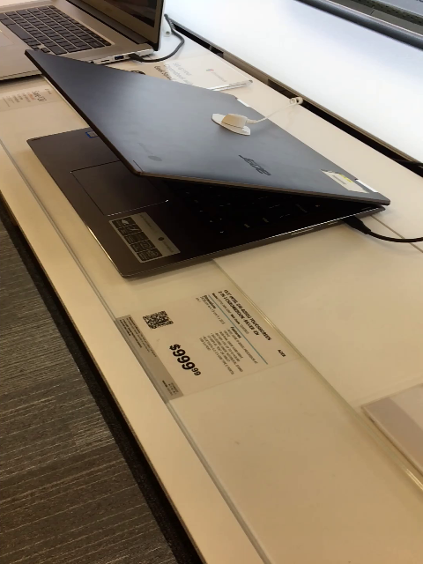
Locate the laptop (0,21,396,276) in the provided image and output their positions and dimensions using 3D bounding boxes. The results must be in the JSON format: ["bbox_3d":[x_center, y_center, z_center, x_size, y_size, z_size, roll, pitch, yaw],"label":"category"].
[{"bbox_3d":[-0.033,-0.151,0.555,0.243,0.099,0.280,-22,48,-16],"label":"laptop"}]
